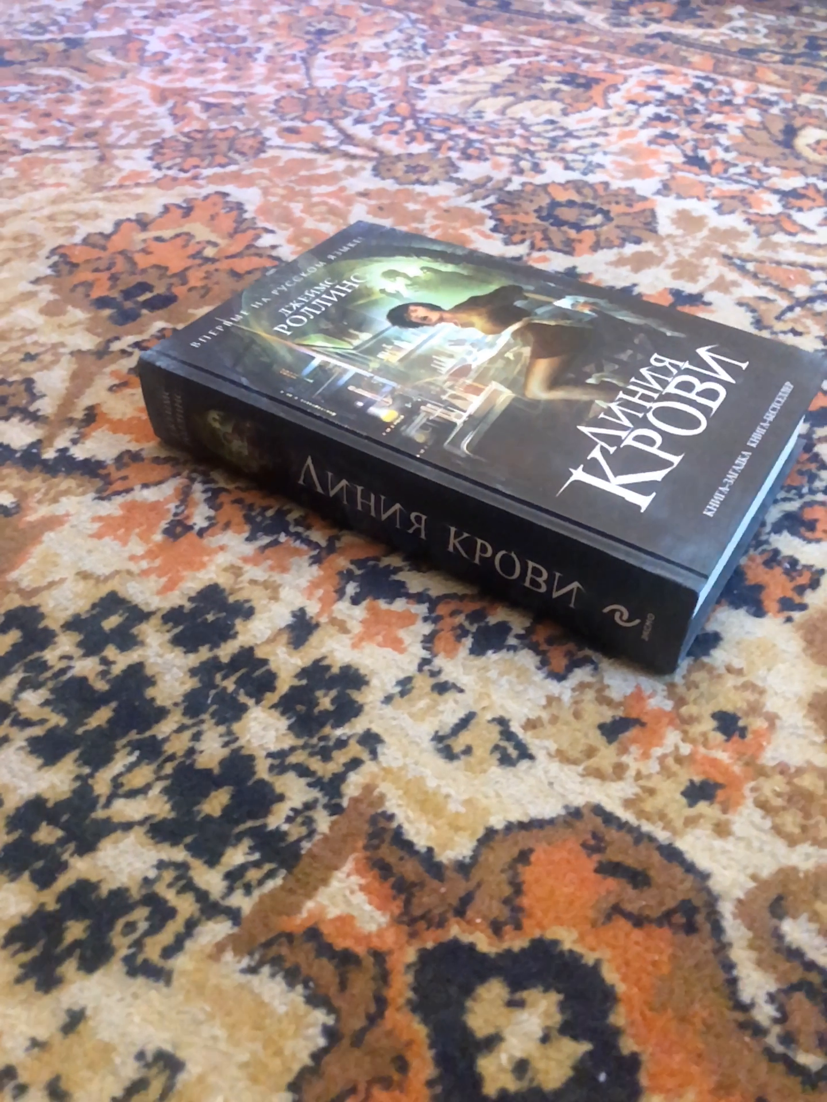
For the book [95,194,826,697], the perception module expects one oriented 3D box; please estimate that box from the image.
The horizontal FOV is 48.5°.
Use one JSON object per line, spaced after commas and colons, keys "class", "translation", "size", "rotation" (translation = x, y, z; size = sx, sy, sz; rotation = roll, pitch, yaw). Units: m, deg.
{"class": "book", "translation": [0.026, -0.061, 0.343], "size": [0.226, 0.040, 0.160], "rotation": [24, 48, 22]}
